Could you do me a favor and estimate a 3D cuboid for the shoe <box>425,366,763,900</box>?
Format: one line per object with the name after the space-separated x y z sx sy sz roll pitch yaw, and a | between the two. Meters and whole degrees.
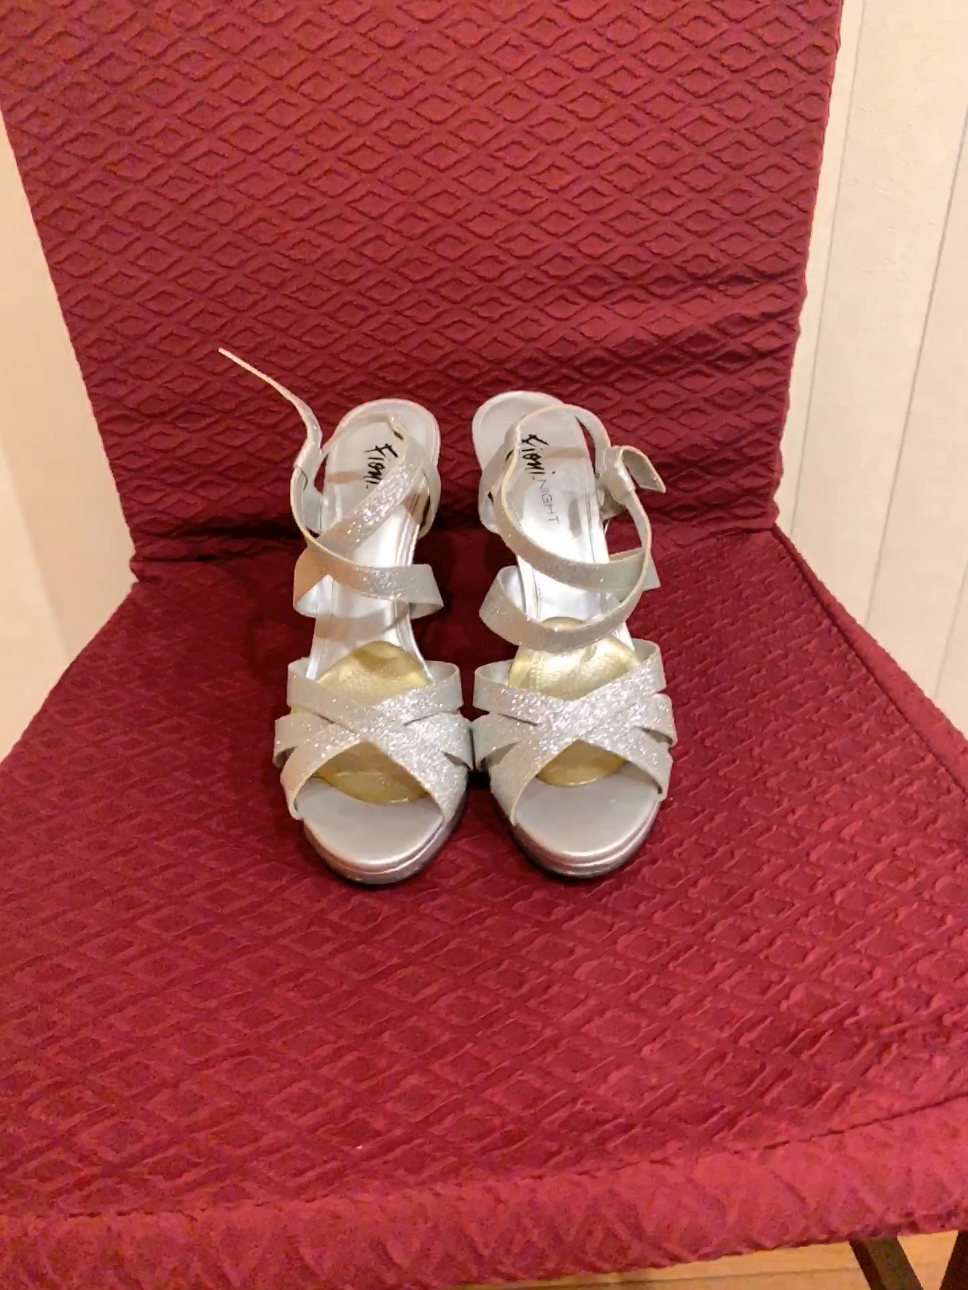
0.033 -0.020 0.433 0.100 0.119 0.221 -5 36 -1 | shoe

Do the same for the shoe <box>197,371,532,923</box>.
-0.048 -0.016 0.436 0.100 0.119 0.231 -7 36 -4 | shoe
